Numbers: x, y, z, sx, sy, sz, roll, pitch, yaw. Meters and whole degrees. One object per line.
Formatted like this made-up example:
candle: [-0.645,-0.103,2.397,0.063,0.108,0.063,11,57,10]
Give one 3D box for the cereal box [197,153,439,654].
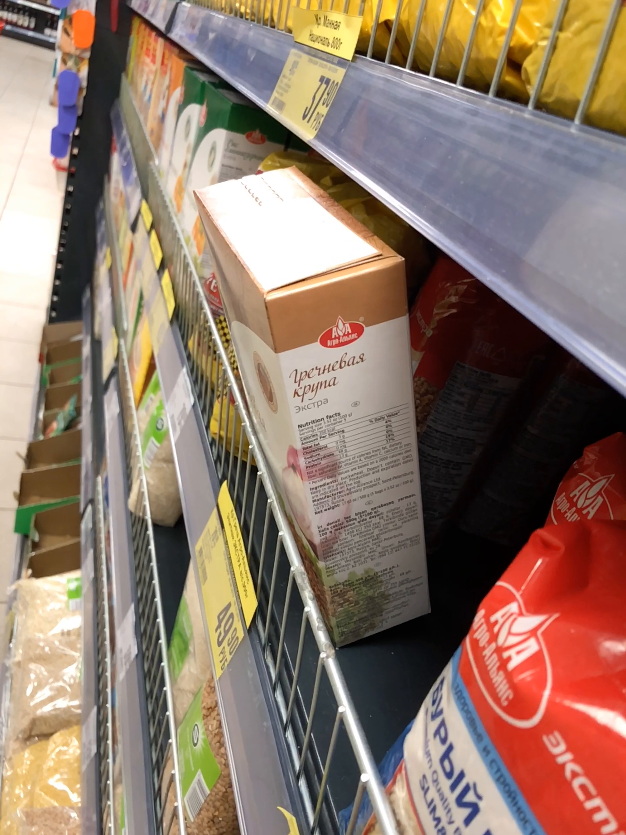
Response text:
cereal box: [0.004,-0.008,0.343,0.050,0.199,0.141,-18,36,-10]
